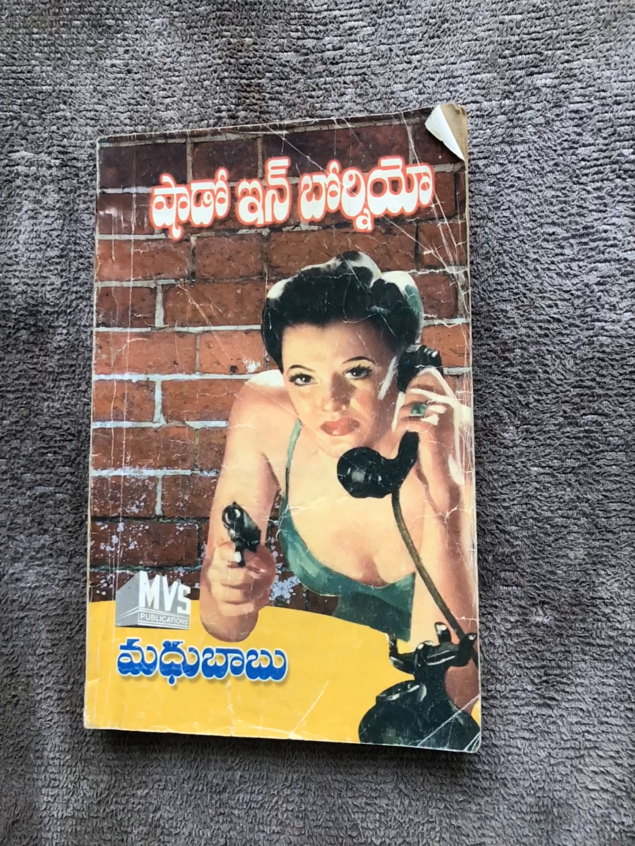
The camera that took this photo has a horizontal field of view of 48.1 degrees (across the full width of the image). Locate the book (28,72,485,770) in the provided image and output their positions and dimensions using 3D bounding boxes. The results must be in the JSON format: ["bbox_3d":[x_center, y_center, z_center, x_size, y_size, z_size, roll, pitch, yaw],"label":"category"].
[{"bbox_3d":[-0.012,-0.002,0.178,0.100,0.040,0.150,0,86,7],"label":"book"}]
